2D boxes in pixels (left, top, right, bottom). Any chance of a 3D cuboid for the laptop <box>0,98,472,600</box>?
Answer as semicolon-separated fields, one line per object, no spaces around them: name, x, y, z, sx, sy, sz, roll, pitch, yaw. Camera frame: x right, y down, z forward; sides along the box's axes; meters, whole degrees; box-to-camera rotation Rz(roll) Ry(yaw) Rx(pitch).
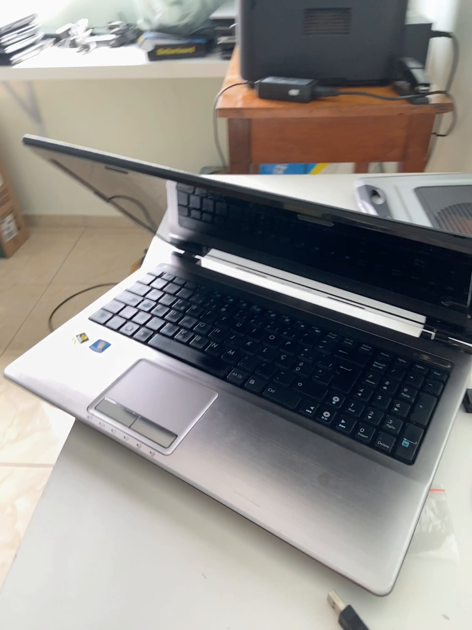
laptop;-0.006;-0.029;0.400;0.377;0.182;0.247;20;44;27
